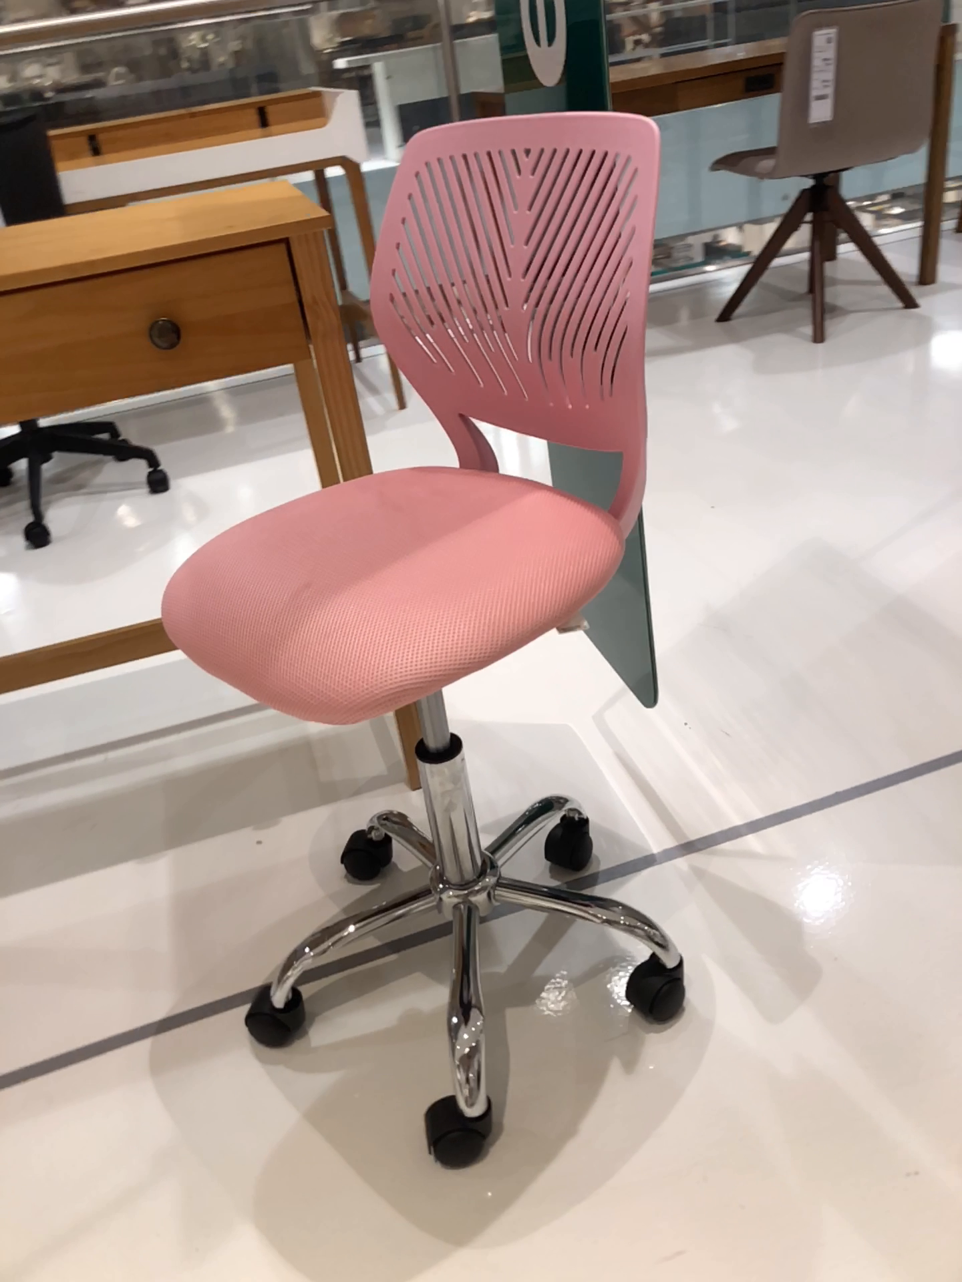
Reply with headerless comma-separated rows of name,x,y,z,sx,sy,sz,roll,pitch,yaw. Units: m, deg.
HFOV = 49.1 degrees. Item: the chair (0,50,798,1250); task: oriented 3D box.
chair,-0.058,-0.028,0.993,0.501,0.834,0.522,17,38,37
